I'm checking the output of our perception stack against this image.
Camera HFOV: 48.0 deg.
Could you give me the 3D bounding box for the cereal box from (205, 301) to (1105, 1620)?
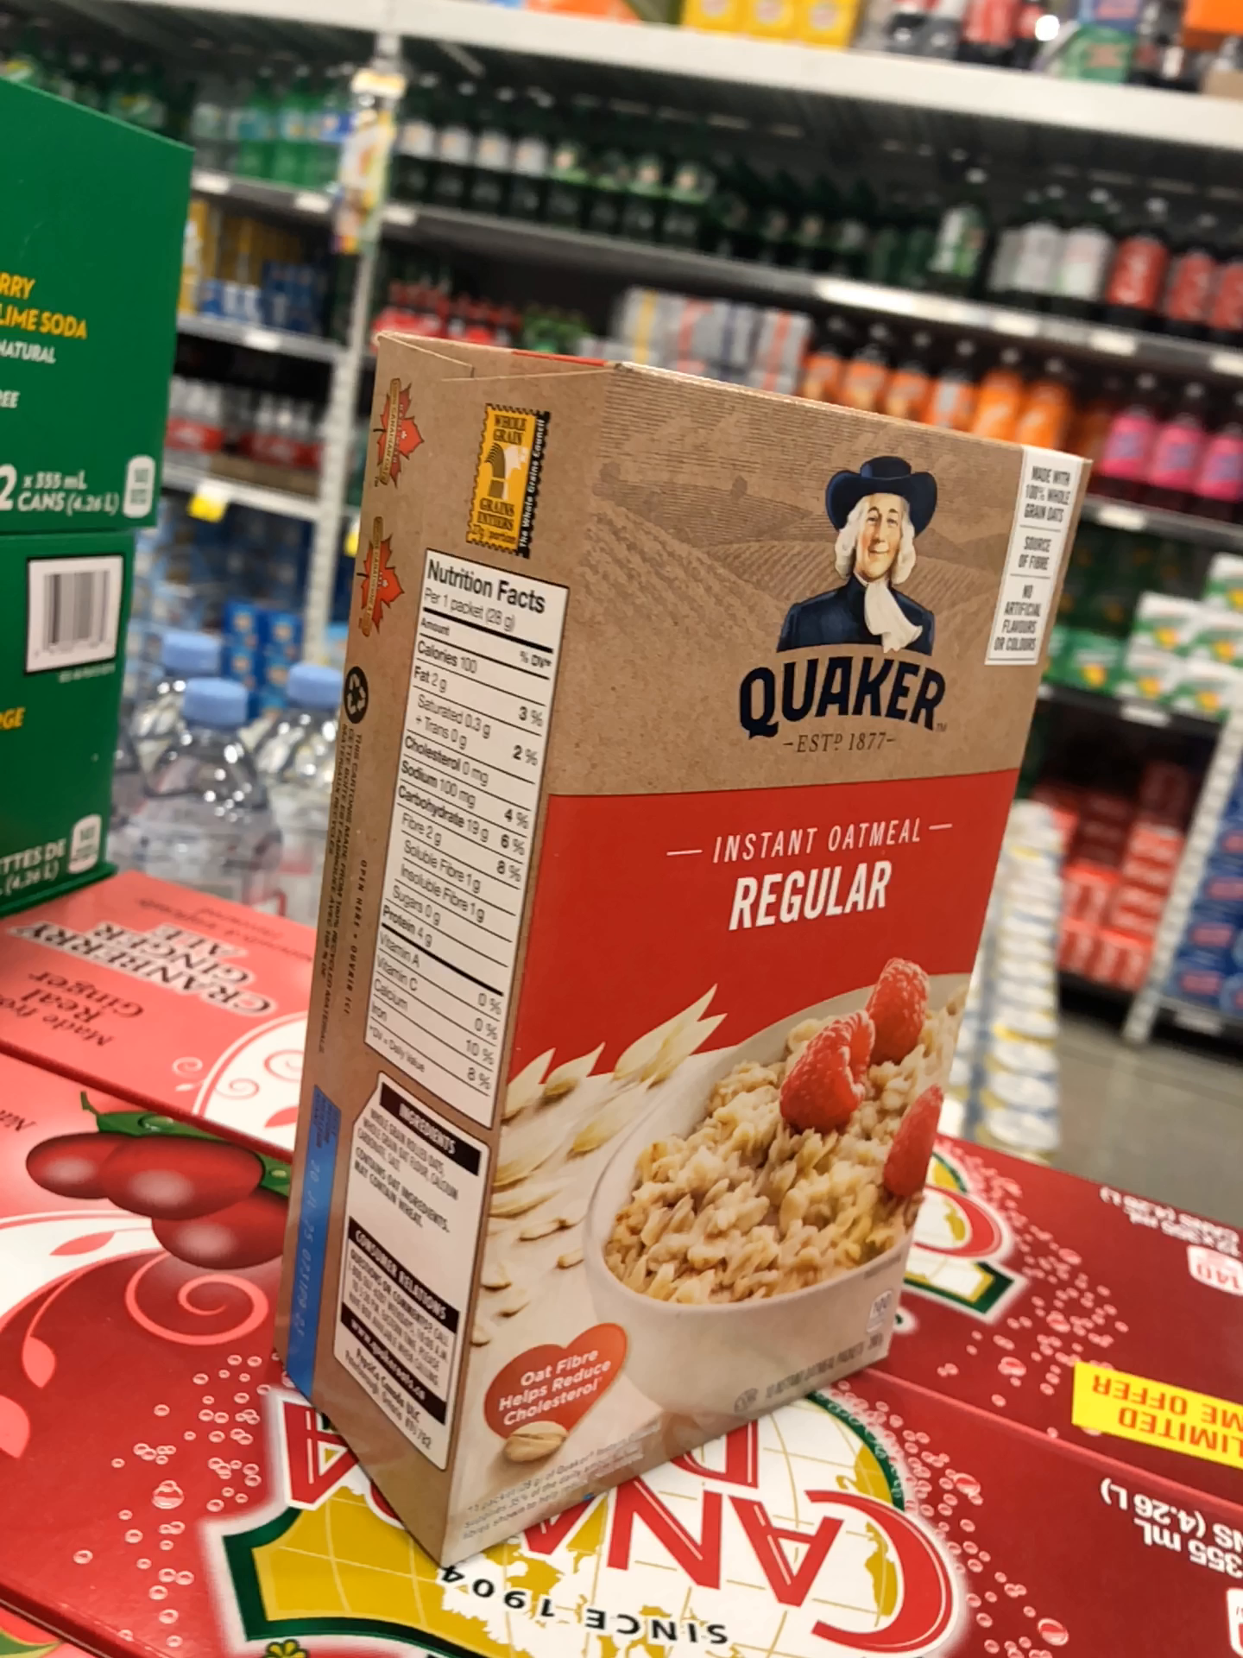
[{"bbox_3d":[0.005,0.017,0.268,0.130,0.199,0.070,-4,19,-43],"label":"cereal box"}]
